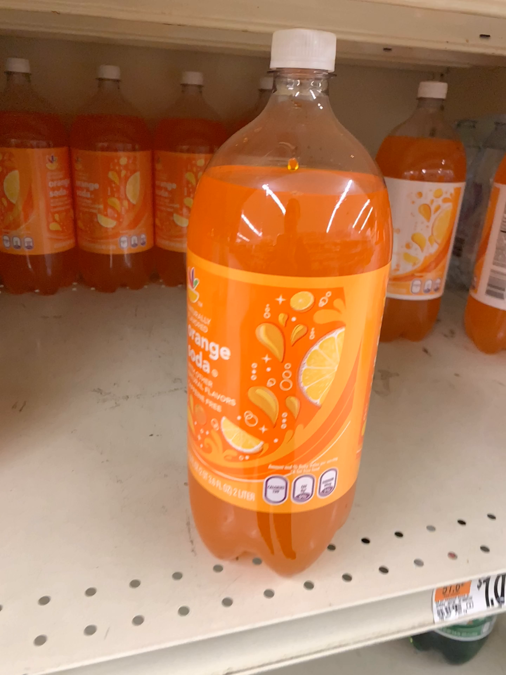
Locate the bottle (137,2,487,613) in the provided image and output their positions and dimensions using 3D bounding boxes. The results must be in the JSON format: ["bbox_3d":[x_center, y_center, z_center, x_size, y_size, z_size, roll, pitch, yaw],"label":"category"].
[{"bbox_3d":[0.020,-0.012,0.303,0.120,0.288,0.110,3,25,-1],"label":"bottle"}]
